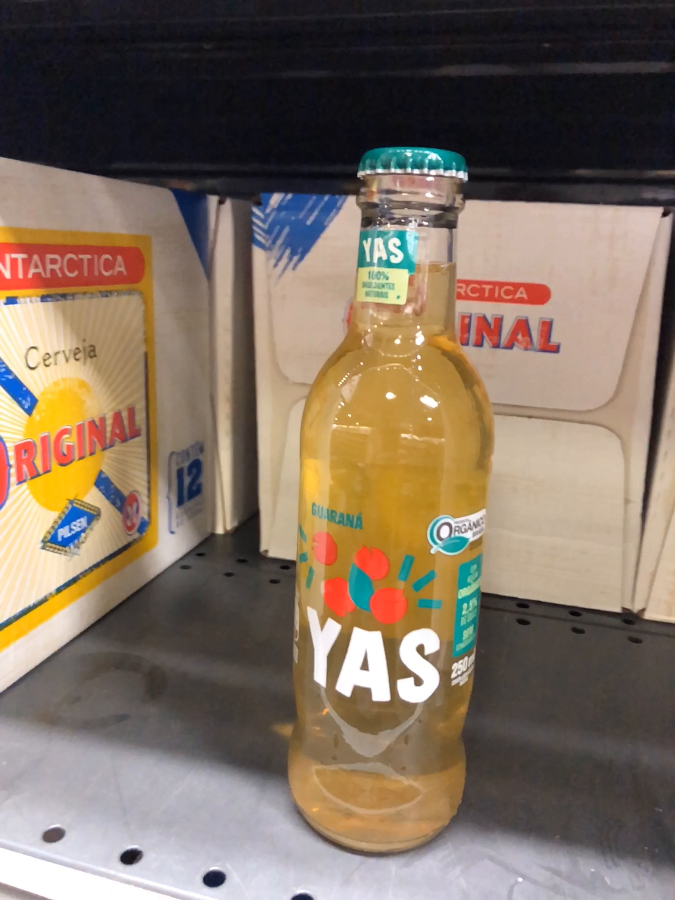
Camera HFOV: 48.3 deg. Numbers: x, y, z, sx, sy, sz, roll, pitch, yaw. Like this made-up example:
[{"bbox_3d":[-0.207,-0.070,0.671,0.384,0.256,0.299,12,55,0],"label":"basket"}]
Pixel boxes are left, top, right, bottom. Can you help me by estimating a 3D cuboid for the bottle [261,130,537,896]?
[{"bbox_3d":[0.017,0.018,0.220,0.060,0.199,0.060,2,14,0],"label":"bottle"}]
